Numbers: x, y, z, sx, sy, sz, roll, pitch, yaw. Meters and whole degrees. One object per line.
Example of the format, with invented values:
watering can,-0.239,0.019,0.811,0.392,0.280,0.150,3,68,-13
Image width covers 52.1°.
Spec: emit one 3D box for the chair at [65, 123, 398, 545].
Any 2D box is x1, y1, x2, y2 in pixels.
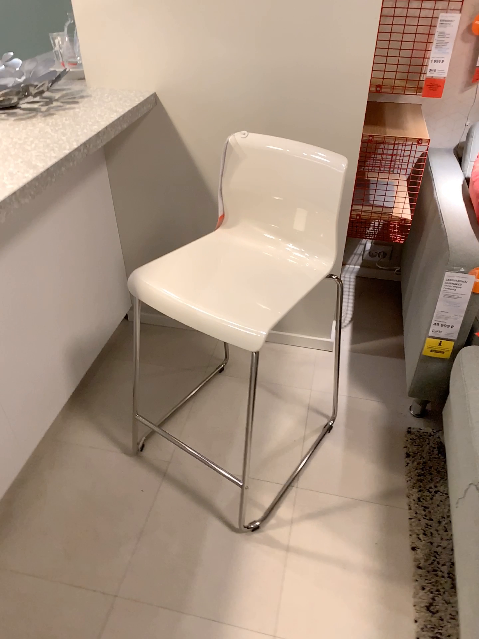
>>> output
chair,-0.004,0.033,1.360,0.511,0.905,0.542,26,45,30
